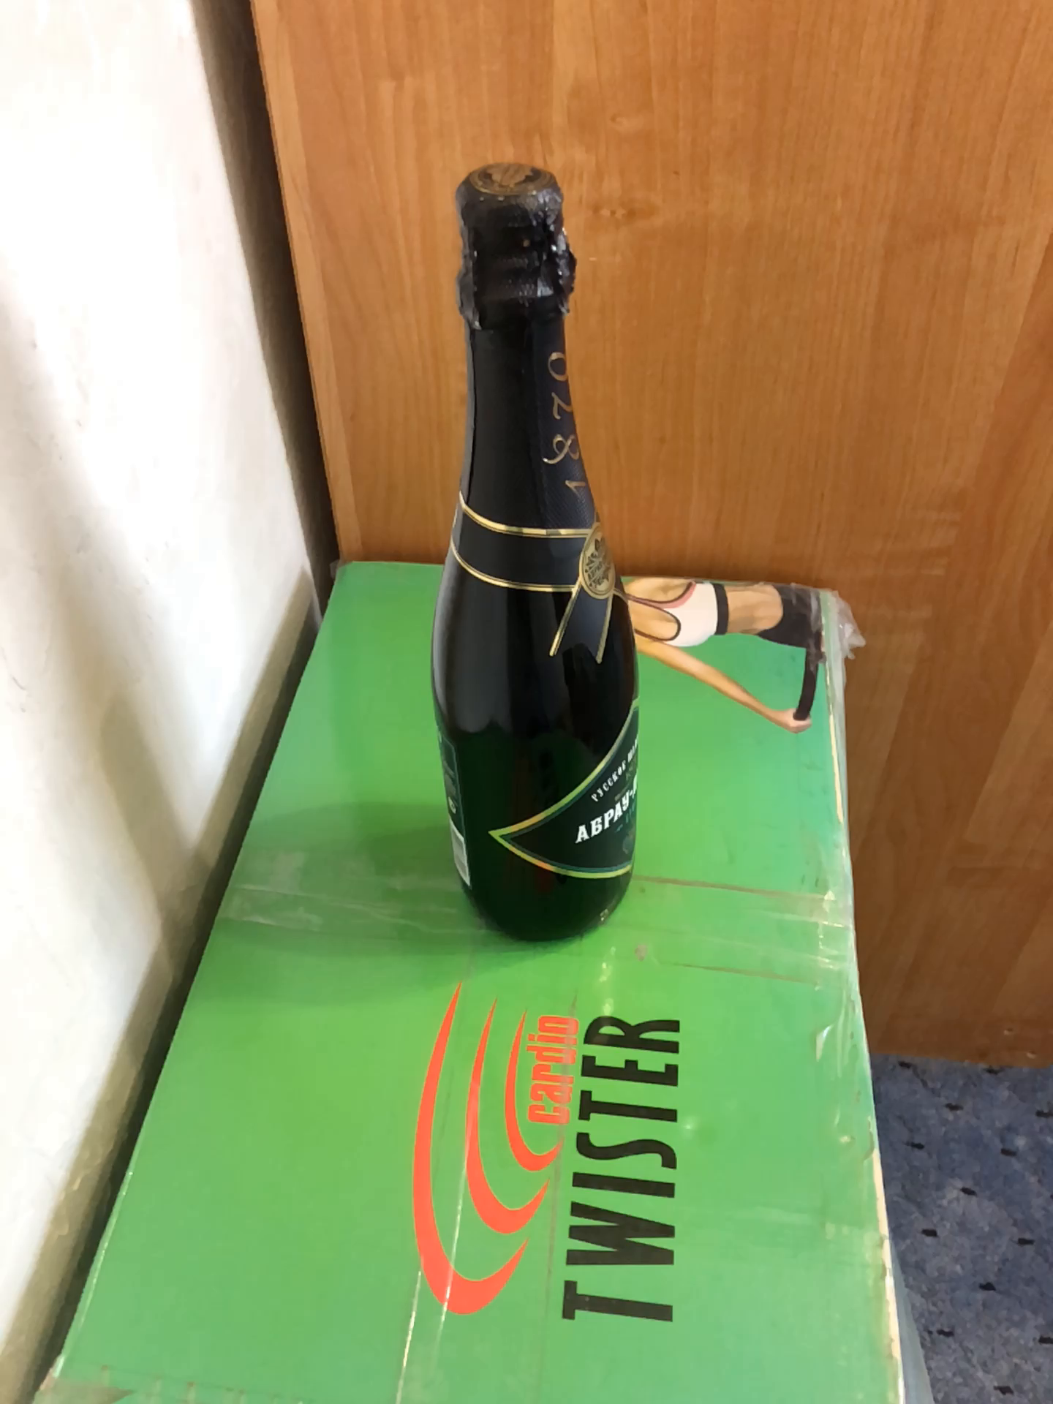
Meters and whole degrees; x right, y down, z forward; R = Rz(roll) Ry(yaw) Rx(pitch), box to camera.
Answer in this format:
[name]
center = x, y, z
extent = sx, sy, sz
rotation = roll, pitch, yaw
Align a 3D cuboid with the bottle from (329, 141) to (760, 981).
[bottle]
center = 0.011, -0.029, 0.430
extent = 0.090, 0.300, 0.090
rotation = -1, 45, 1
